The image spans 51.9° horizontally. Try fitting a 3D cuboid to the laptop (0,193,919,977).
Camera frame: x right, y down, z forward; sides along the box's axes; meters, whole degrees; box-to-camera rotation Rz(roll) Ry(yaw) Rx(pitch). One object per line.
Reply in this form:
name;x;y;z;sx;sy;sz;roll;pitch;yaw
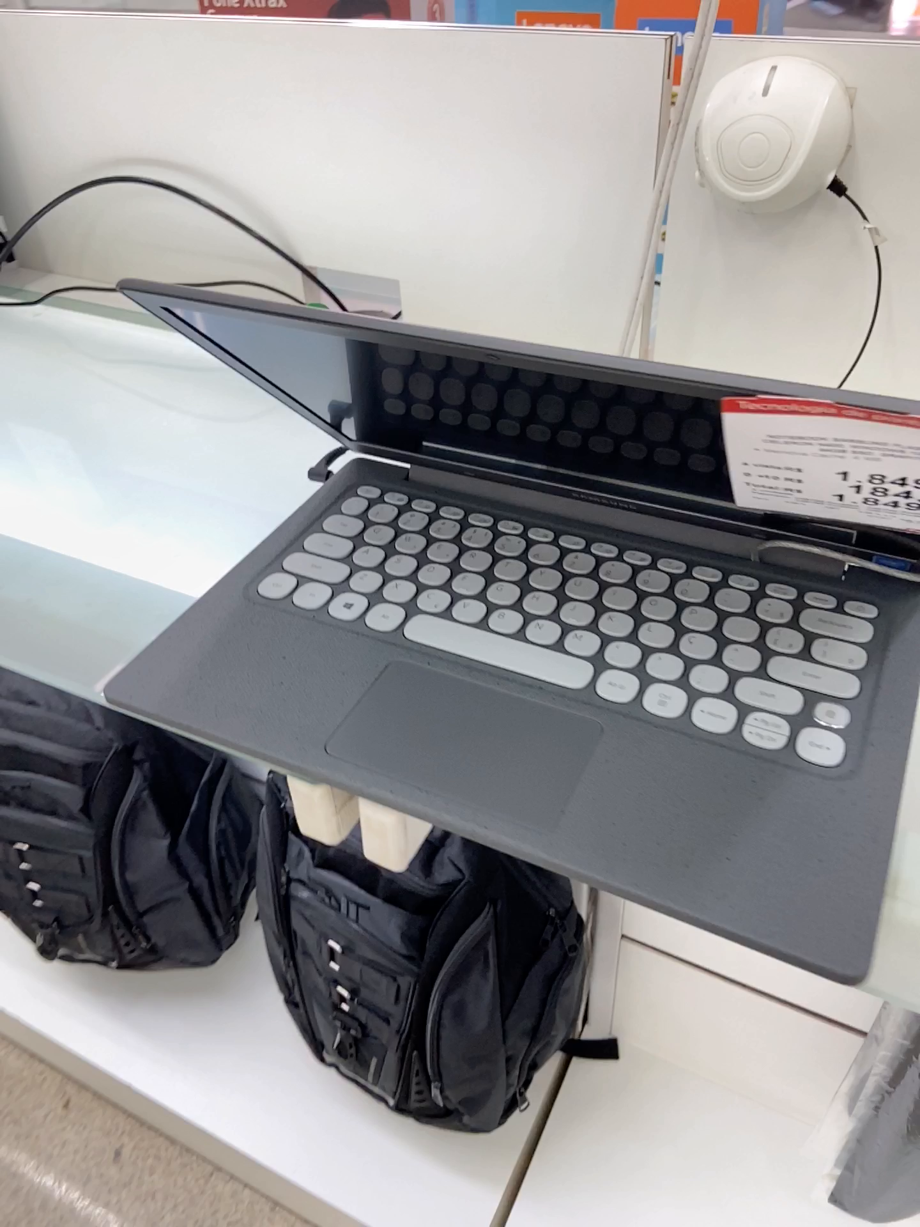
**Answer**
laptop;0.028;-0.045;0.376;0.311;0.153;0.209;15;43;22
